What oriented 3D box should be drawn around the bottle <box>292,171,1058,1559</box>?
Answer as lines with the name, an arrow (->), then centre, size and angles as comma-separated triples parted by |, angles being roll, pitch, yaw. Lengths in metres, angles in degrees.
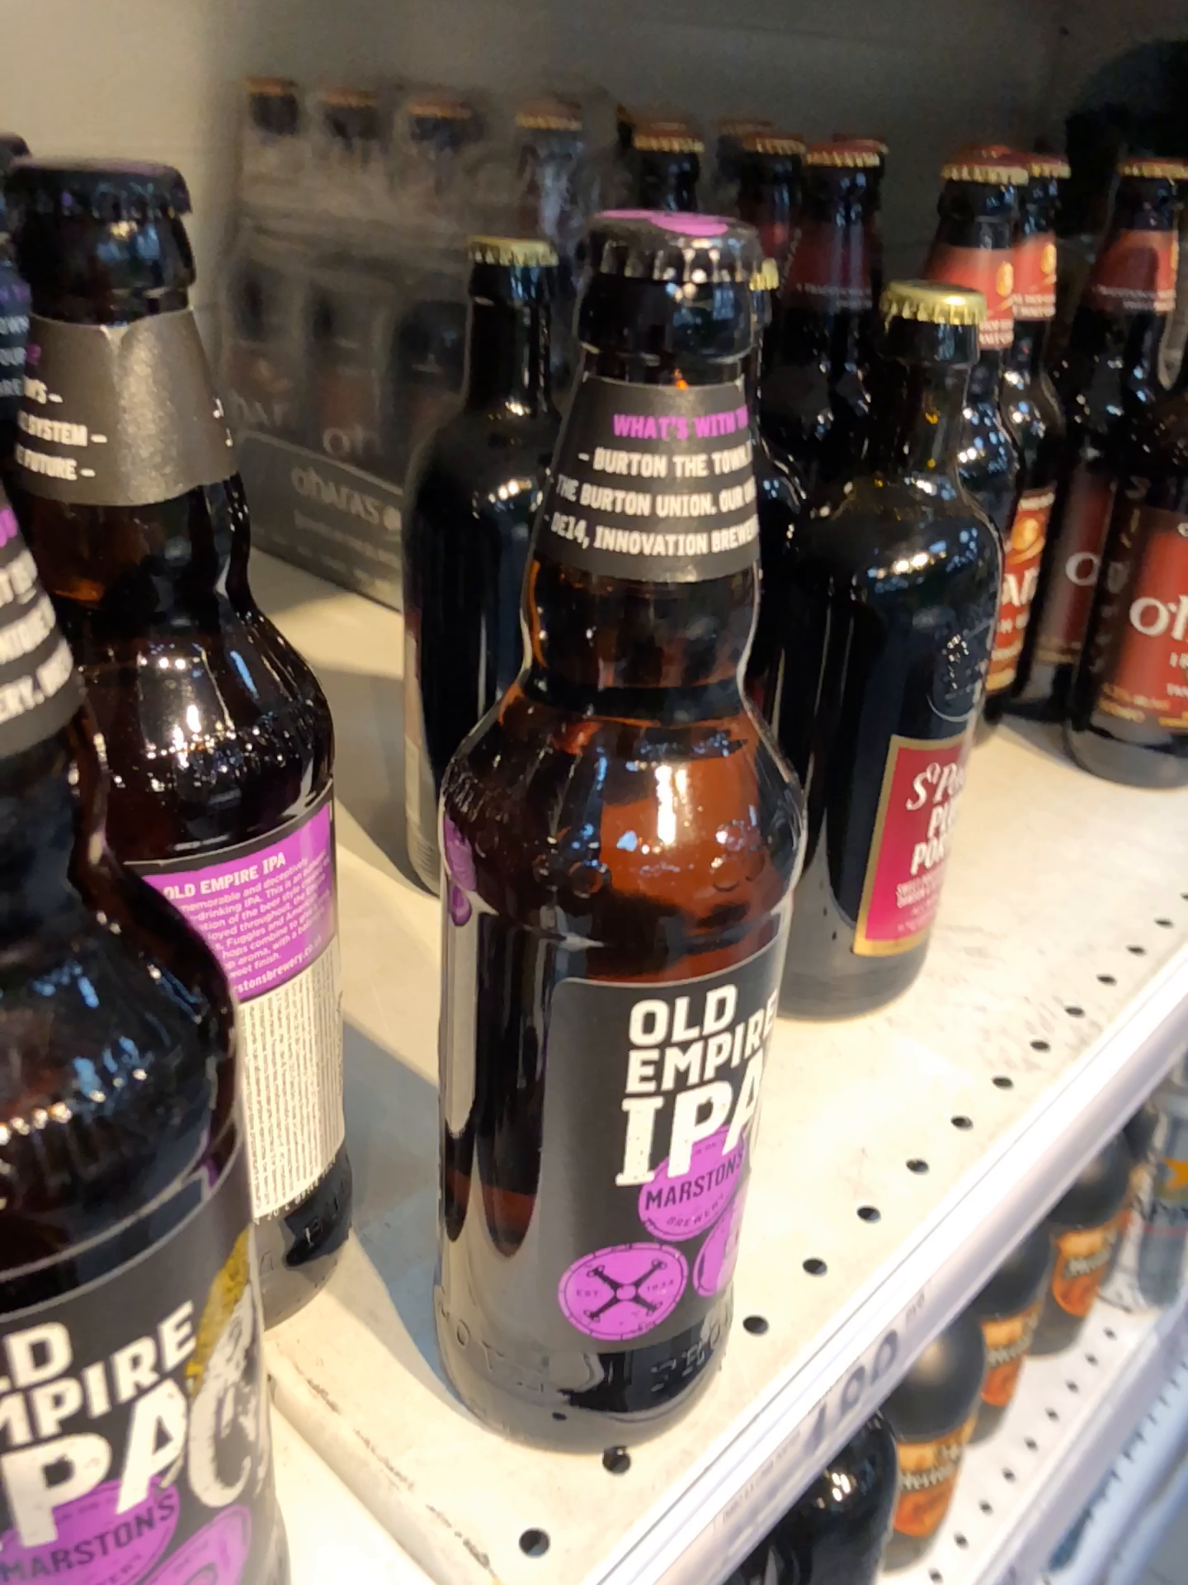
bottle -> 0.005, 0.017, 0.250 | 0.080, 0.239, 0.080 | 3, 28, -1
